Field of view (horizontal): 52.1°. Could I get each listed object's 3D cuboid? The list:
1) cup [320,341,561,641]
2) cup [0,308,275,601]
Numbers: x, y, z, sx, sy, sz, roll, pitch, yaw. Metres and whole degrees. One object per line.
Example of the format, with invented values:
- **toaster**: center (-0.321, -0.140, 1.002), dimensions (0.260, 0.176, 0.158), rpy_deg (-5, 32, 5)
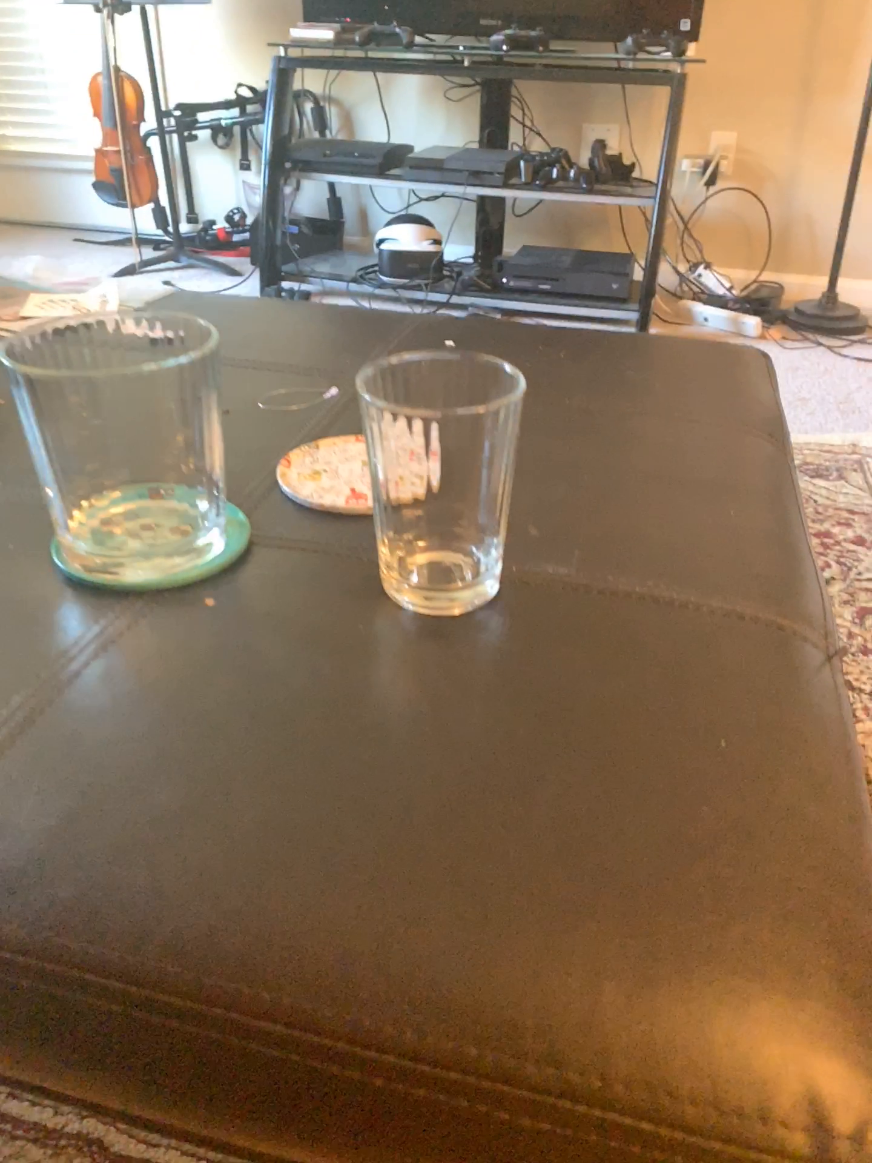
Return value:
- **cup**: center (0.002, -0.040, 0.362), dimensions (0.060, 0.089, 0.070), rpy_deg (26, 39, 34)
- **cup**: center (-0.131, -0.060, 0.393), dimensions (0.080, 0.089, 0.080), rpy_deg (1, 31, -1)
